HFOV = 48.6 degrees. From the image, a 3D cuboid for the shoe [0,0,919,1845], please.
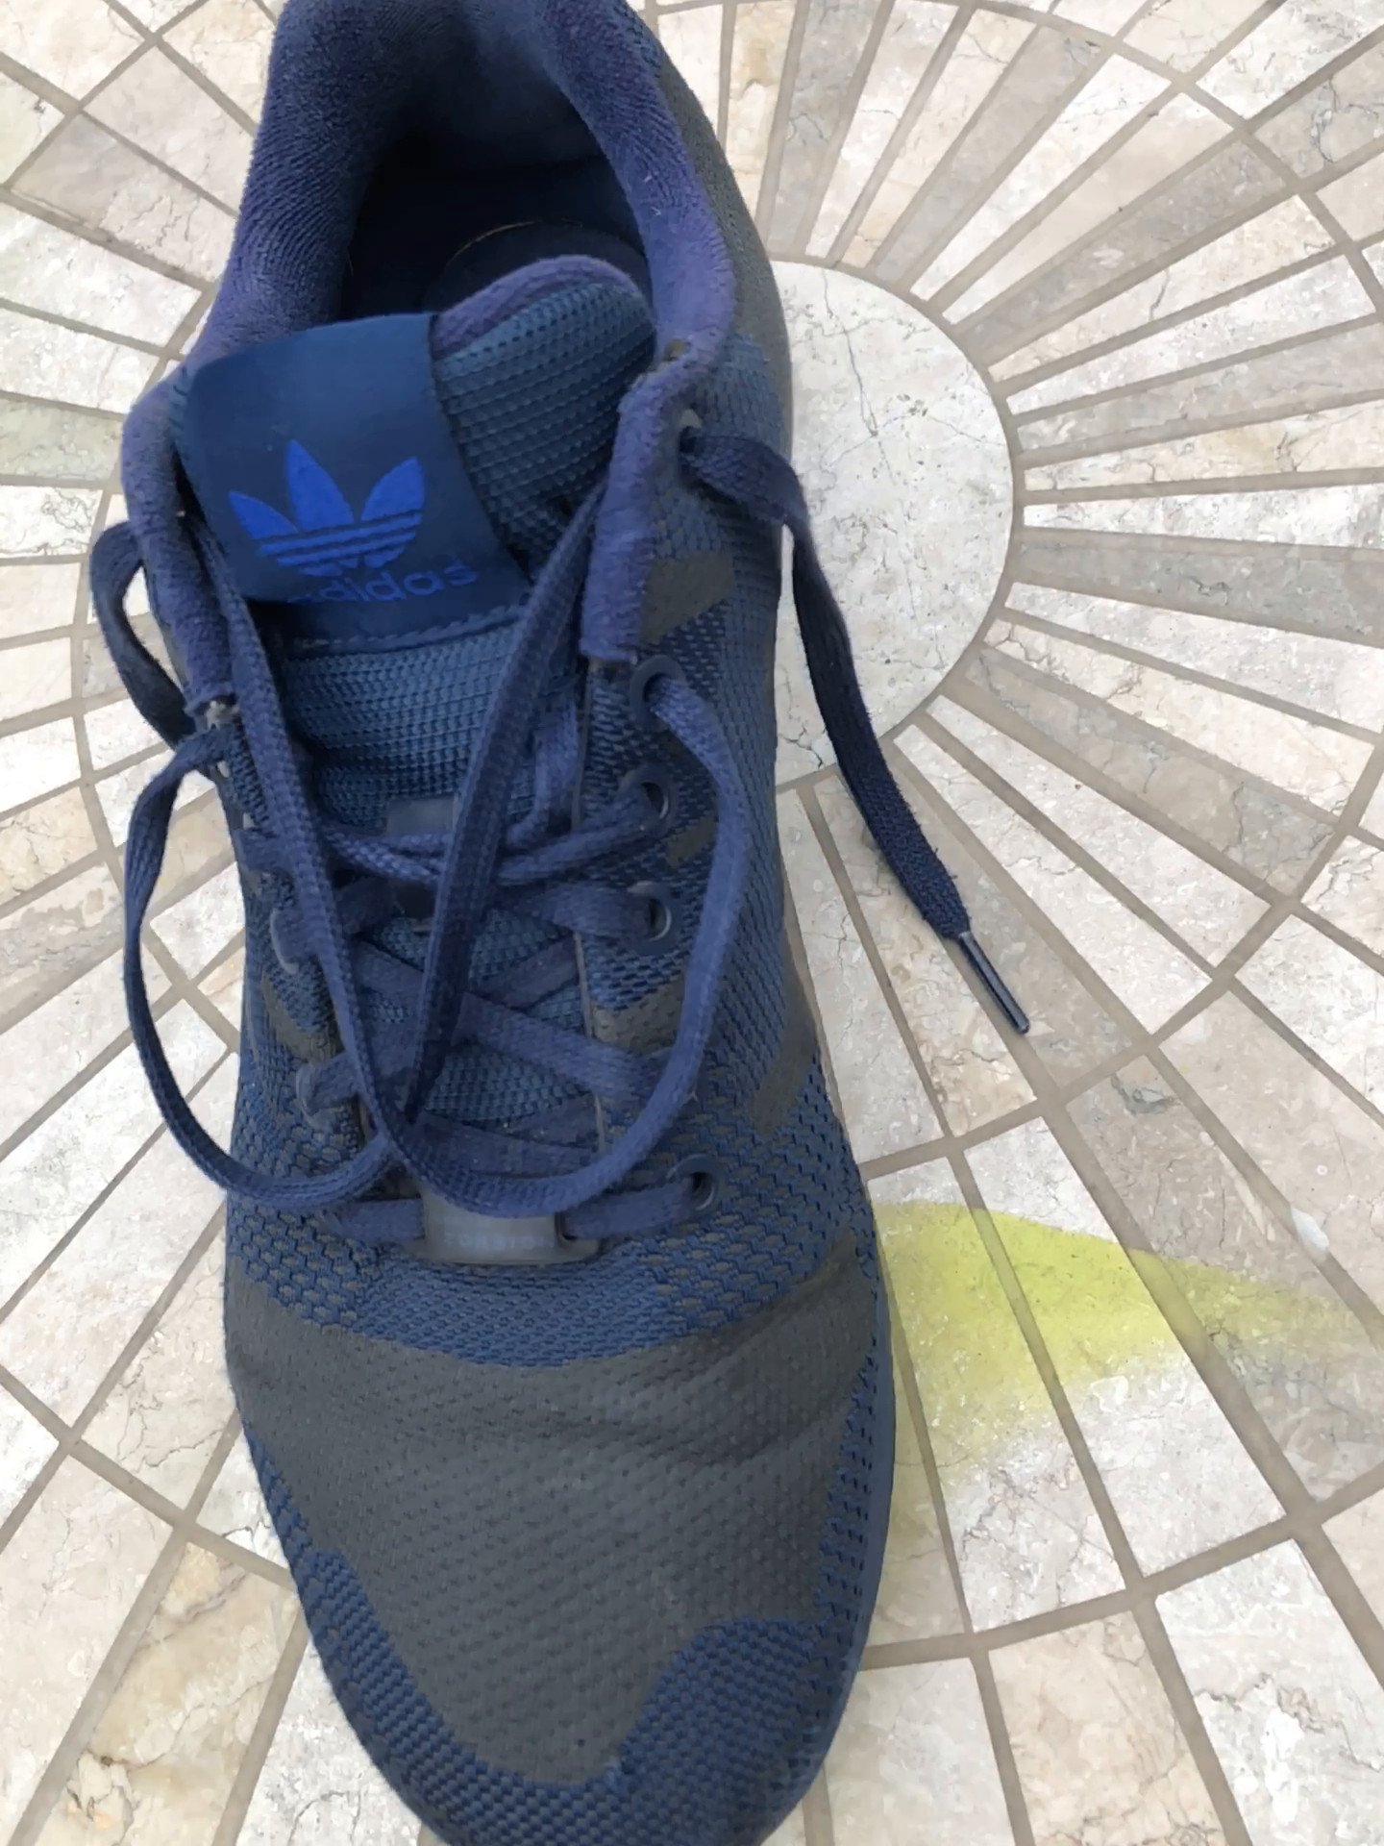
[{"bbox_3d":[-0.031,-0.005,0.236,0.110,0.110,0.281,-4,73,11],"label":"shoe"}]
